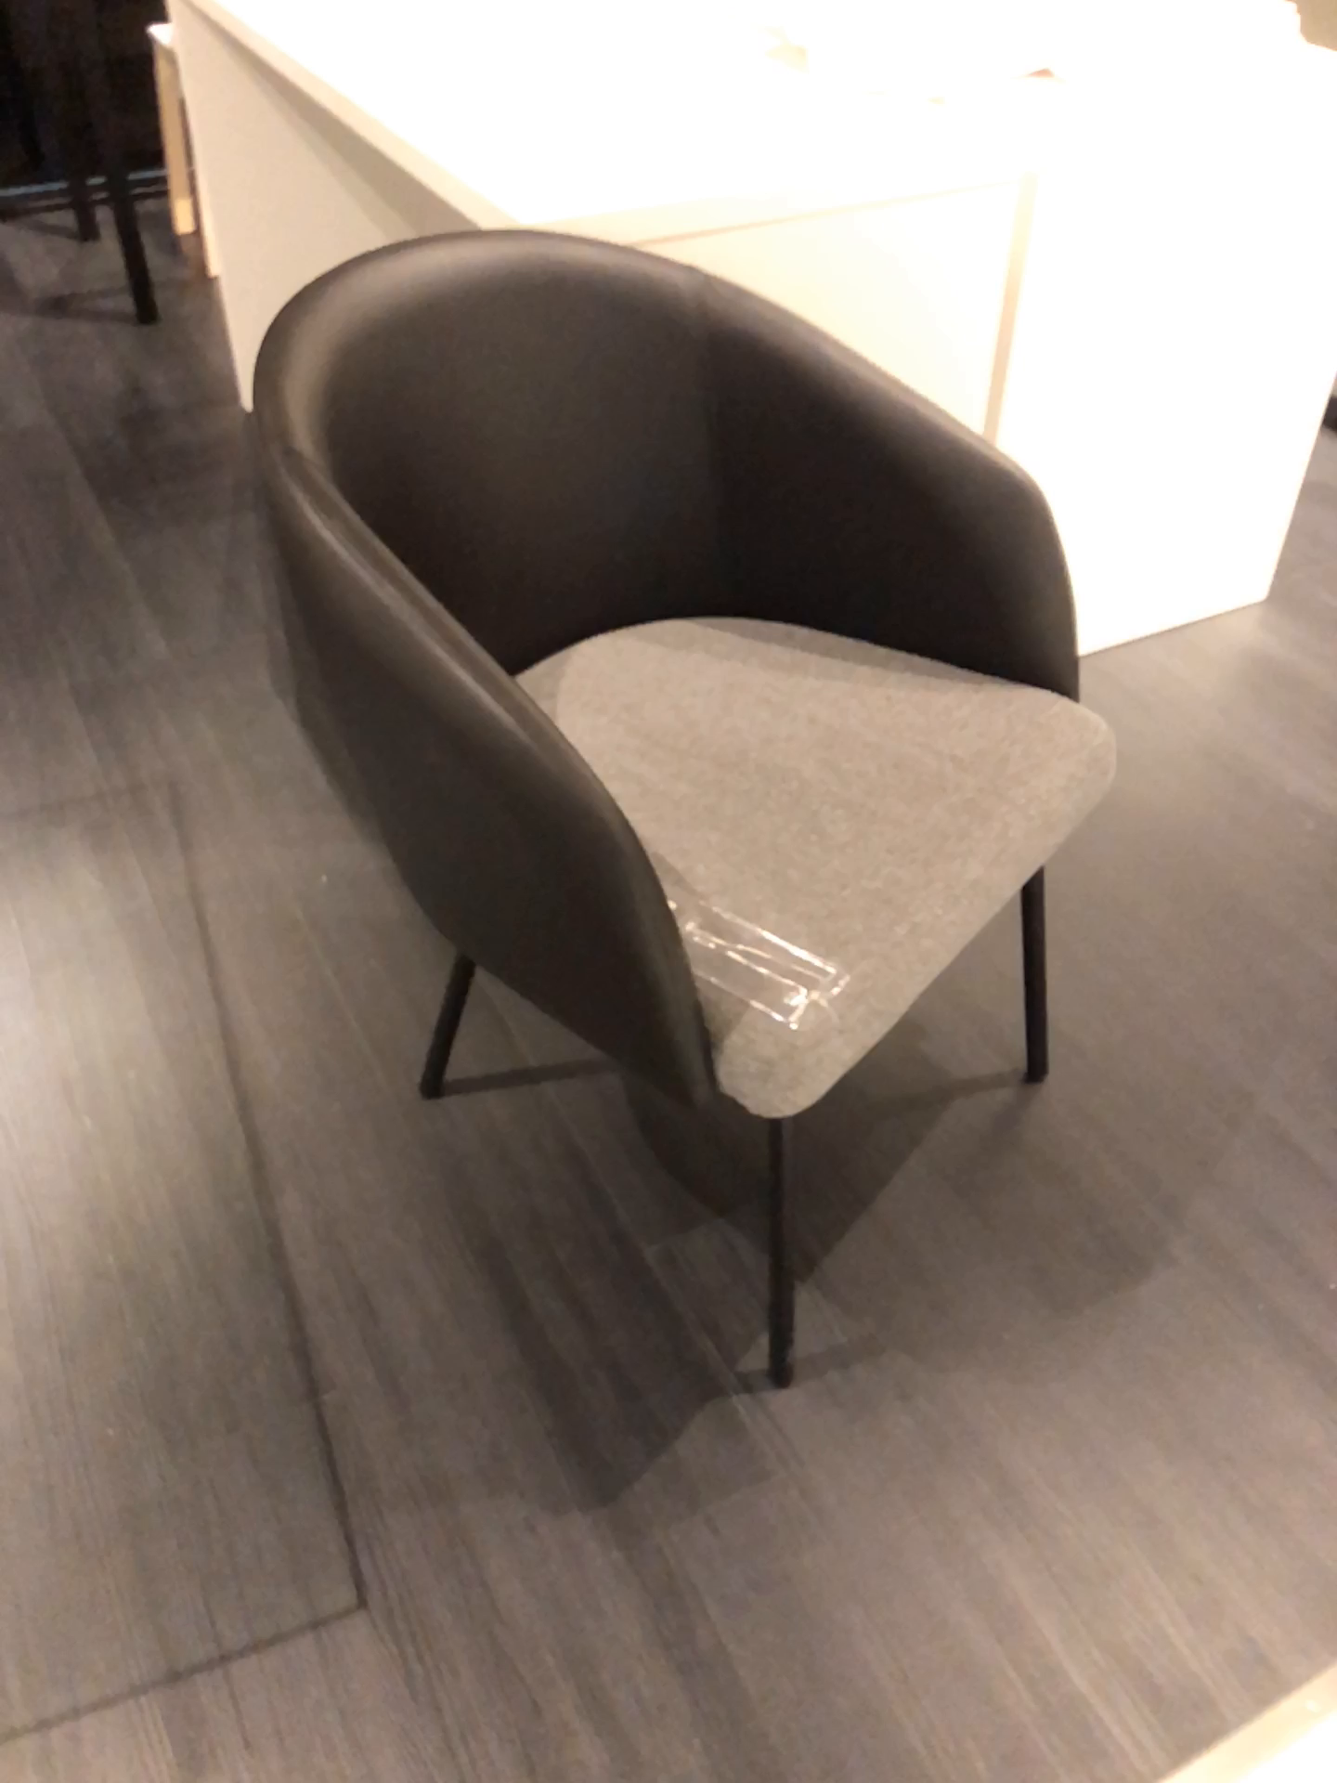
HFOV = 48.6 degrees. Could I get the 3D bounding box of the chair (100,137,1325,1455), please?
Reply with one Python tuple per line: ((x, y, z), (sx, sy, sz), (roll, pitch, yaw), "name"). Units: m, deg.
((0.044, -0.112, 1.269), (0.591, 0.764, 0.613), (29, 49, 29), "chair")
